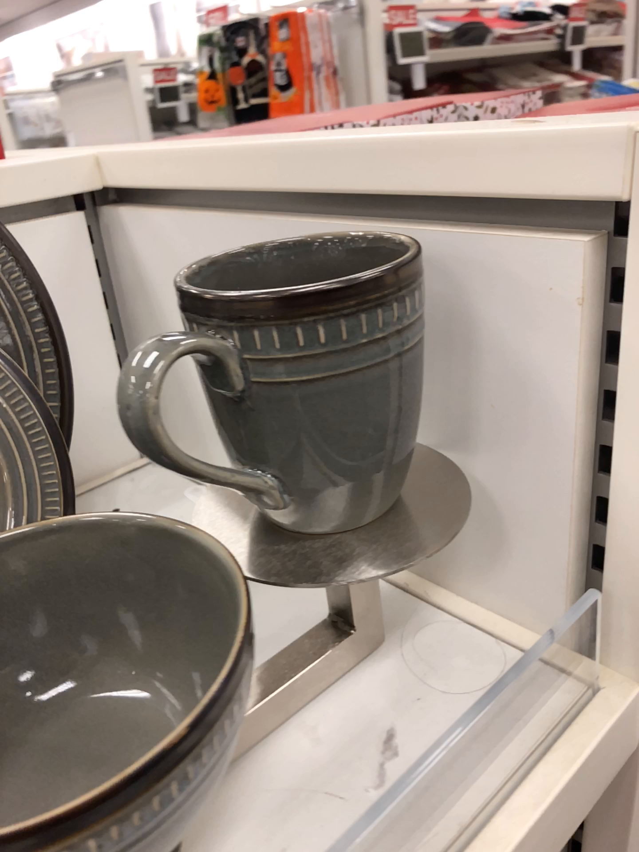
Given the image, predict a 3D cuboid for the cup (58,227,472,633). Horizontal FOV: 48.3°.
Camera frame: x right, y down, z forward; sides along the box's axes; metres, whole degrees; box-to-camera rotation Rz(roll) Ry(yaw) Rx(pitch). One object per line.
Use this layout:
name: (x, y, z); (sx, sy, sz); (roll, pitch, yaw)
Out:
cup: (-0.010, -0.012, 0.282); (0.089, 0.106, 0.126); (11, 30, 36)
